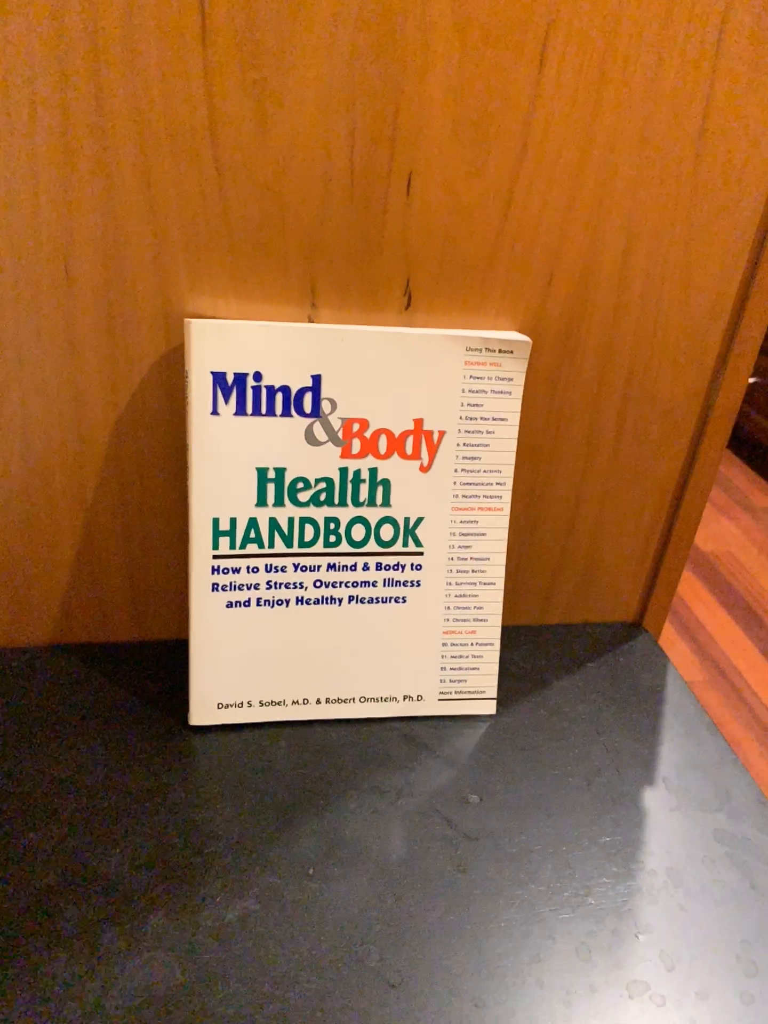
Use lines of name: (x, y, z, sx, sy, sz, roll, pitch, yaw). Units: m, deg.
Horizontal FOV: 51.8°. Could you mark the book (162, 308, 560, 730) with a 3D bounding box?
book: (-0.017, 0.007, 0.457, 0.210, 0.229, 0.040, 1, 13, -10)
